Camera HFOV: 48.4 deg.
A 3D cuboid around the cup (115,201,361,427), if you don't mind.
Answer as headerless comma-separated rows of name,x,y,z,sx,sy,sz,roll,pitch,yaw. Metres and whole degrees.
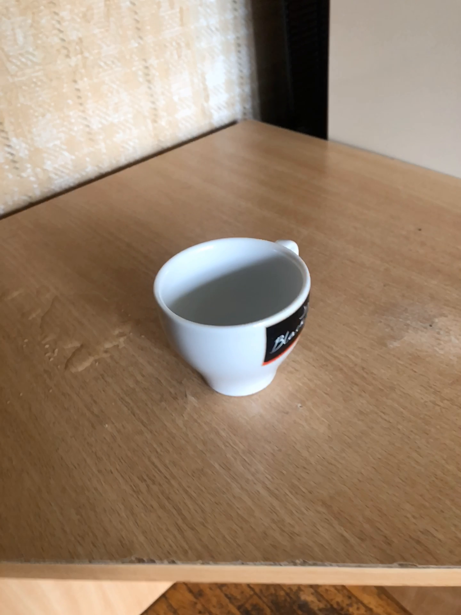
cup,0.009,-0.005,0.274,0.080,0.050,0.105,19,45,30
